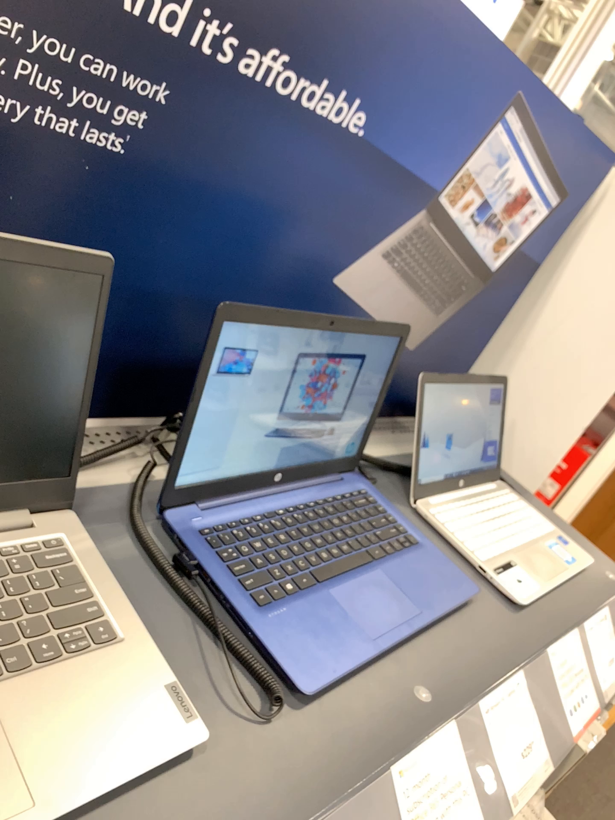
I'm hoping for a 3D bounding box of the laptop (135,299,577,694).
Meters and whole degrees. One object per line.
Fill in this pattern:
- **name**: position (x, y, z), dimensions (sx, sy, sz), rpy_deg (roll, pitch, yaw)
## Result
- **laptop**: position (0.059, 0.060, 0.647), dimensions (0.252, 0.208, 0.323), rpy_deg (43, 26, 28)
